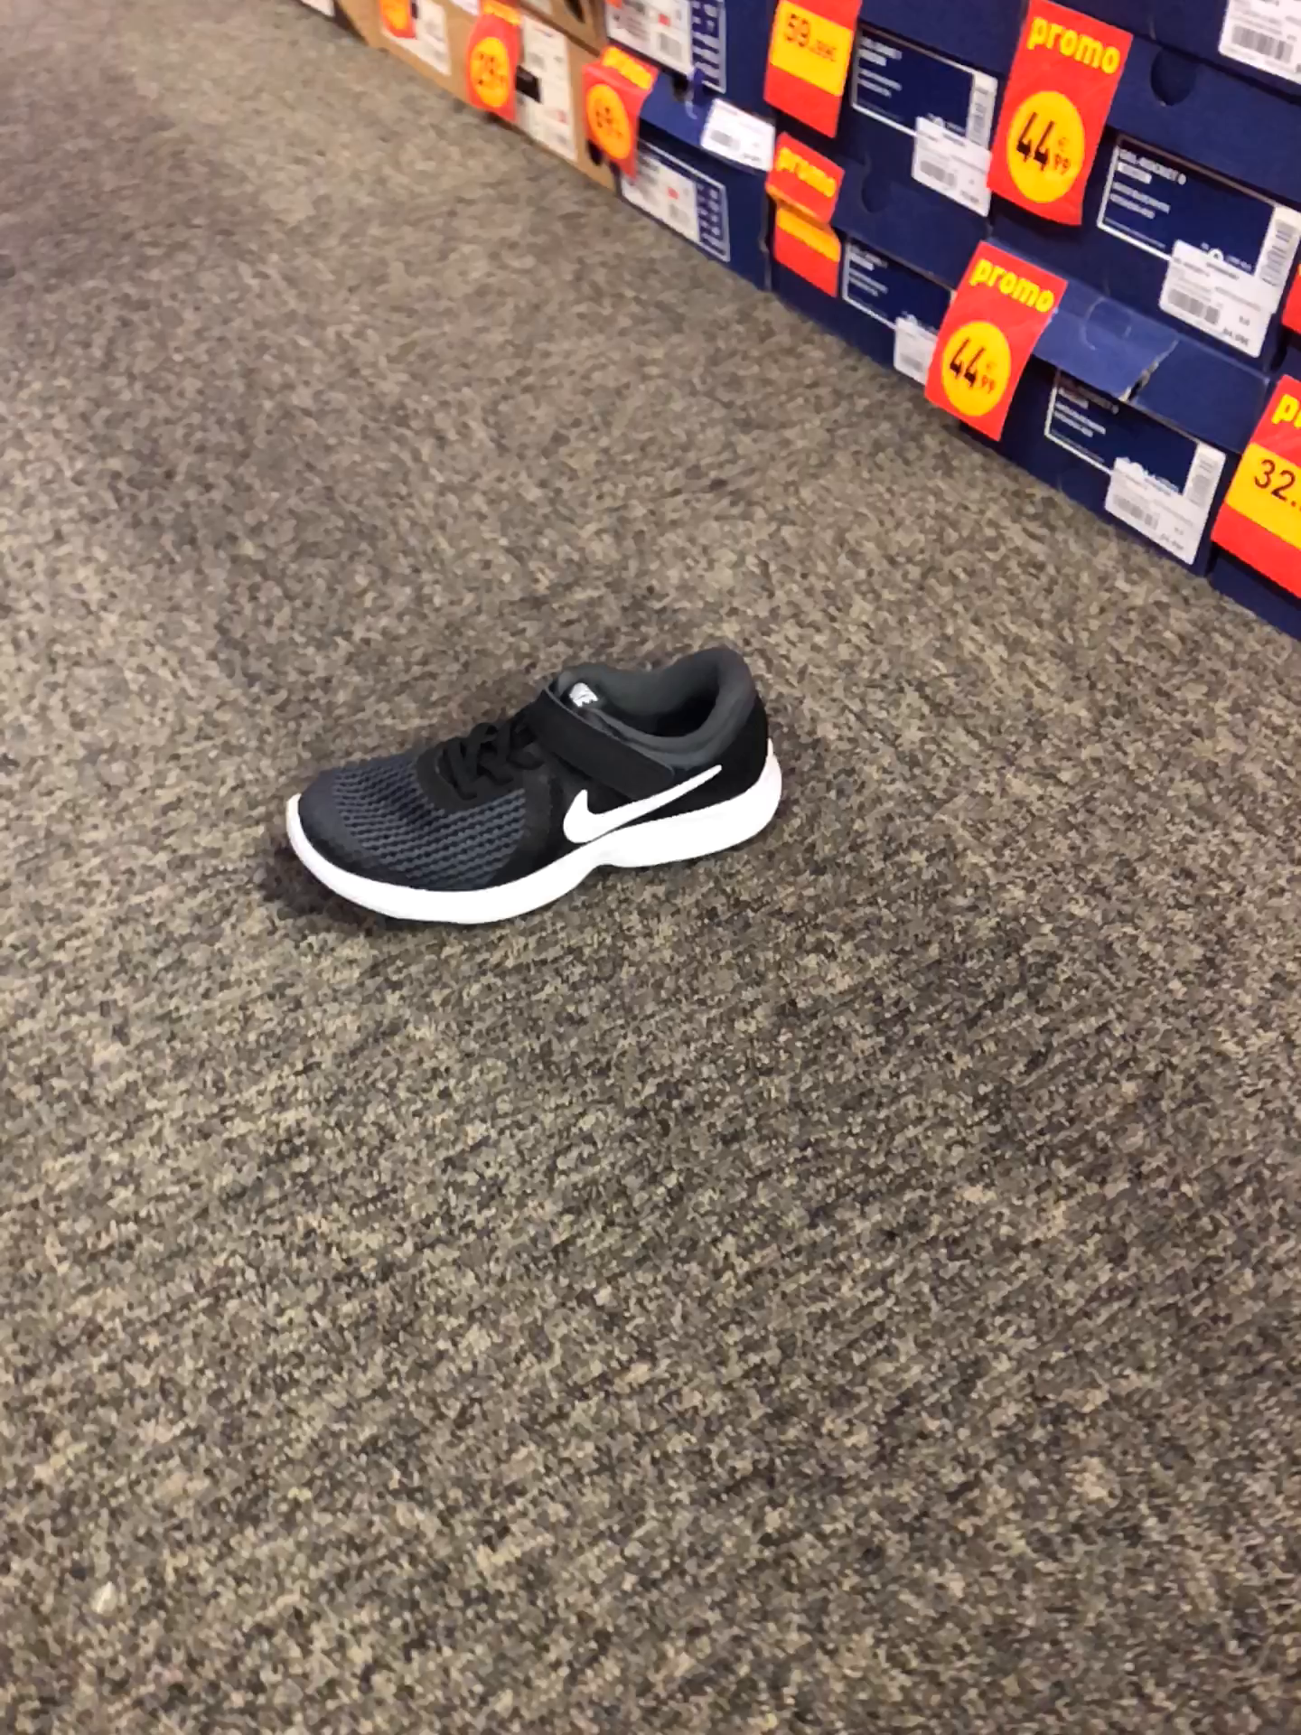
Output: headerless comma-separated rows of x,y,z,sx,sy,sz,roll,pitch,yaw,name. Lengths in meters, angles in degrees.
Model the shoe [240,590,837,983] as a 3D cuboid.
-0.045,-0.036,0.586,0.218,0.080,0.090,-12,48,-11,shoe
